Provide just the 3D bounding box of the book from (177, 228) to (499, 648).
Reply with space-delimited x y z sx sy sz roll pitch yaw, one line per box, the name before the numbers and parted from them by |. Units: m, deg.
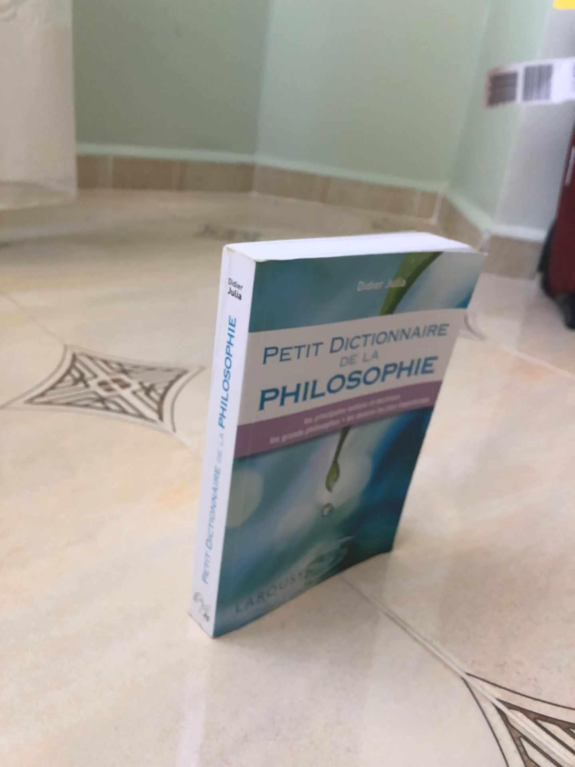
book | 0.023 0.022 0.318 0.140 0.185 0.034 -13 34 -39
